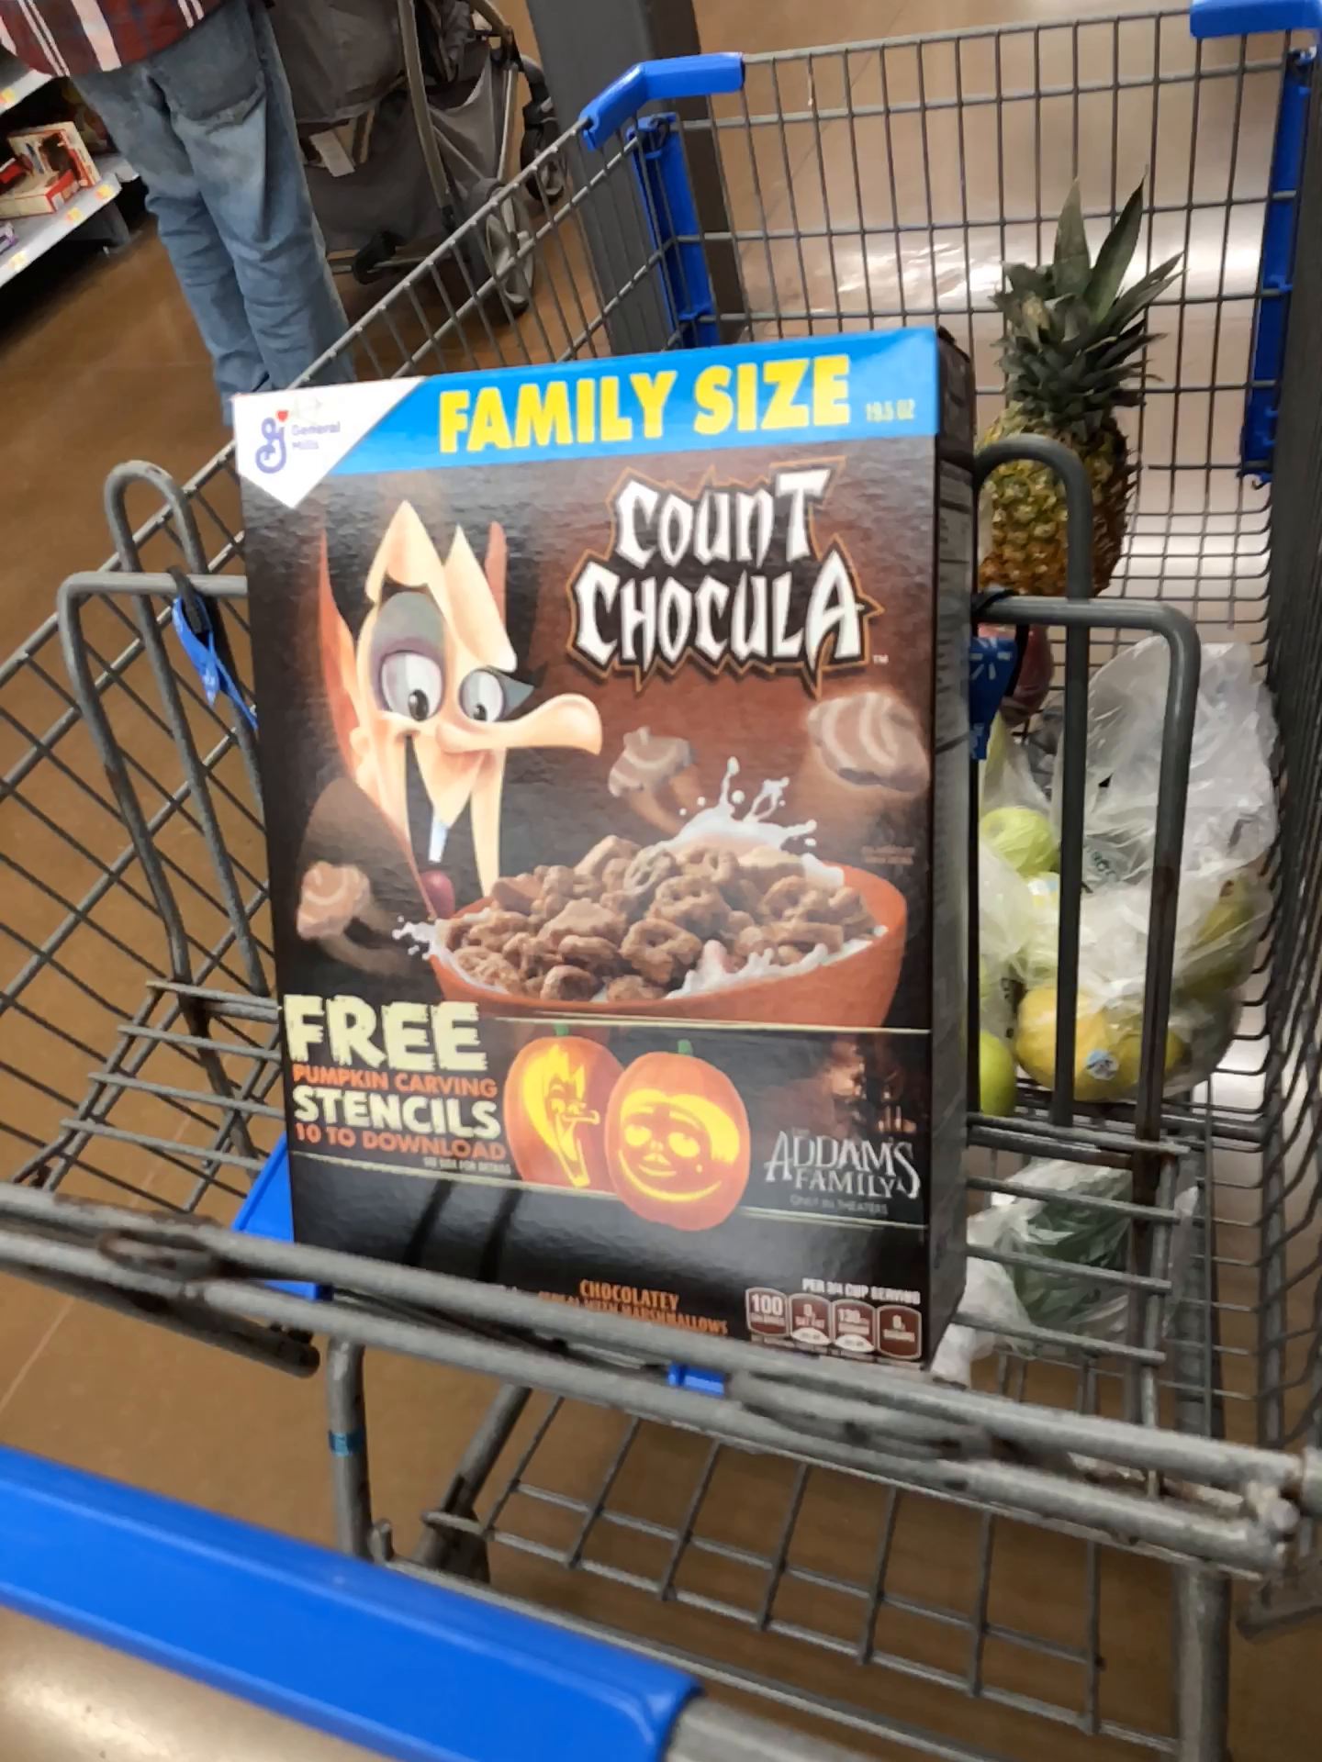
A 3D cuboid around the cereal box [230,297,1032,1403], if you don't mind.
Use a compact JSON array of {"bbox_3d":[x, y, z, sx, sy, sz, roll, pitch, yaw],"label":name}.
[{"bbox_3d":[-0.007,-0.010,0.502,0.250,0.330,0.080,3,12,20],"label":"cereal box"}]
